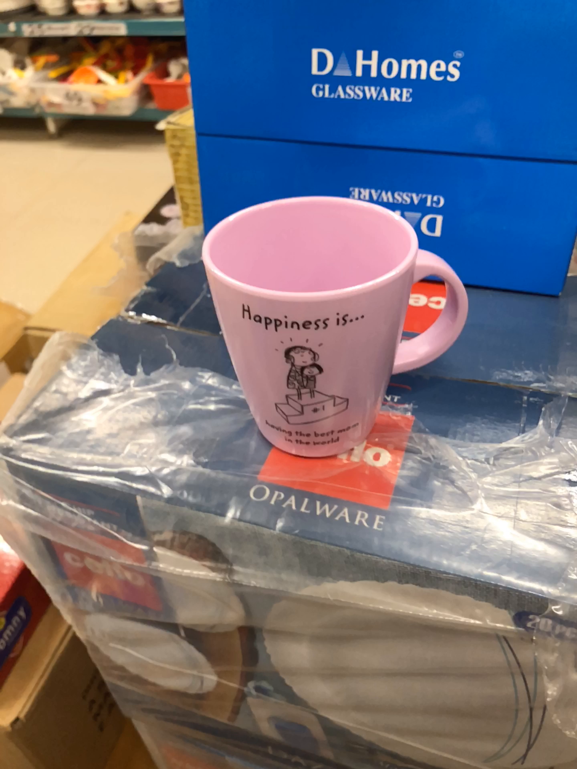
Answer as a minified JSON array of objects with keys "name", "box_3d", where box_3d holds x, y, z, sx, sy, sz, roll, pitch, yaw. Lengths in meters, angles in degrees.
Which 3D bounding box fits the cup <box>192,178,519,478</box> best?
[{"name":"cup","box_3d":[0.026,-0.025,0.281,0.110,0.089,0.091,-2,41,3]}]
